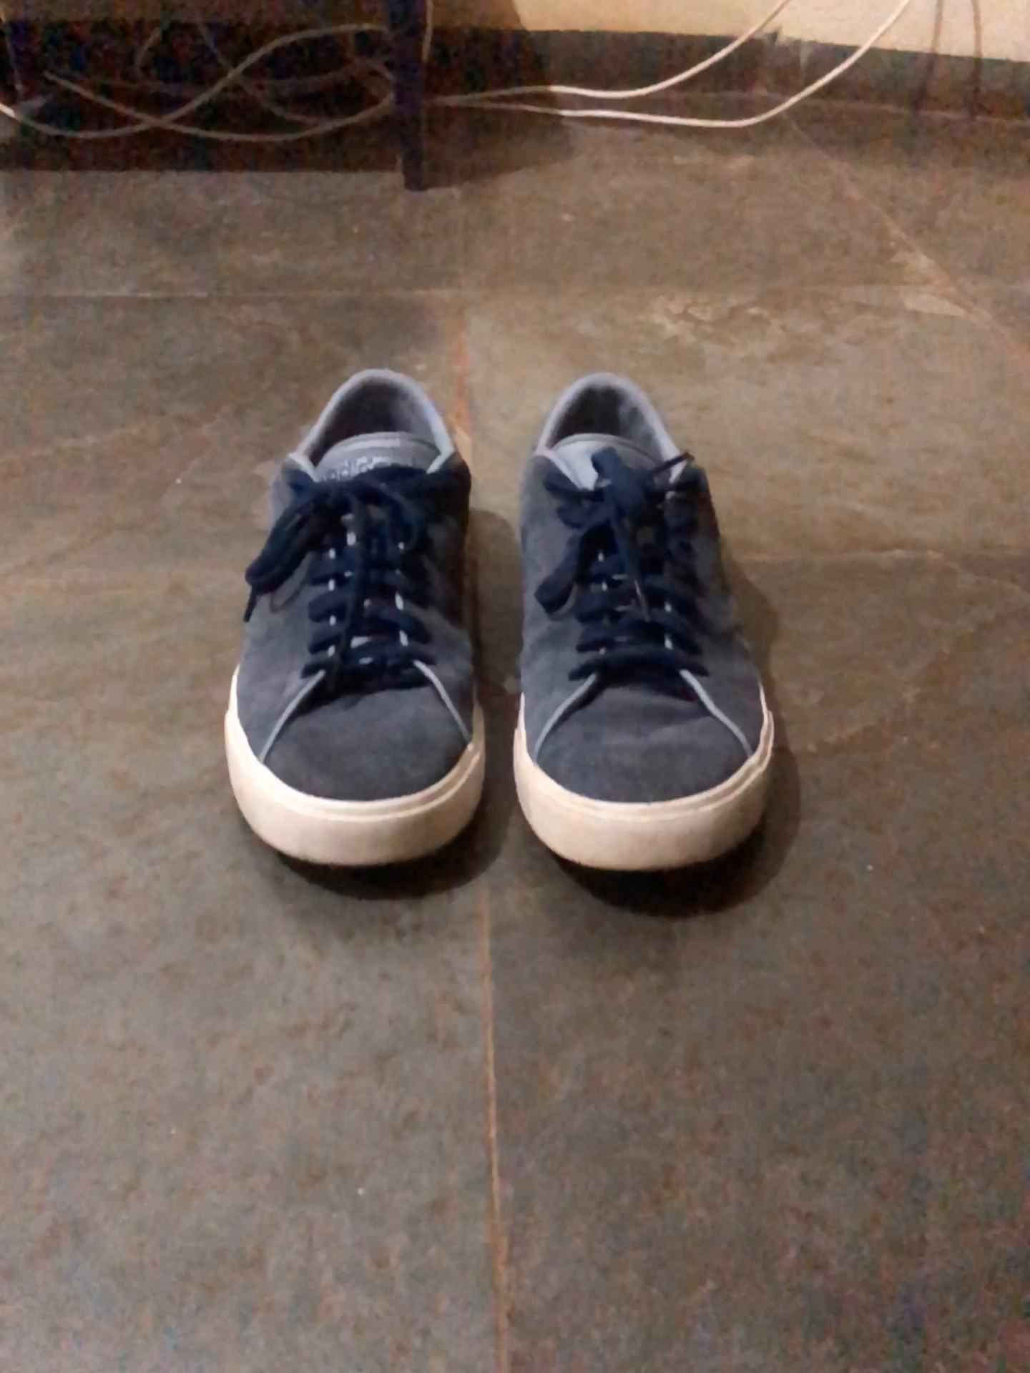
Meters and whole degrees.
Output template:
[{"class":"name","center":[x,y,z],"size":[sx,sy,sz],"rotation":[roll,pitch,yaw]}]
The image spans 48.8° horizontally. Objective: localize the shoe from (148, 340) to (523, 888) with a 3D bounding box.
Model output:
[{"class":"shoe","center":[-0.061,-0.050,0.466],"size":[0.110,0.079,0.272],"rotation":[-2,39,-3]}]

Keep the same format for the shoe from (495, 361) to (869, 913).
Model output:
[{"class":"shoe","center":[0.048,-0.042,0.477],"size":[0.110,0.079,0.282],"rotation":[0,39,-2]}]
